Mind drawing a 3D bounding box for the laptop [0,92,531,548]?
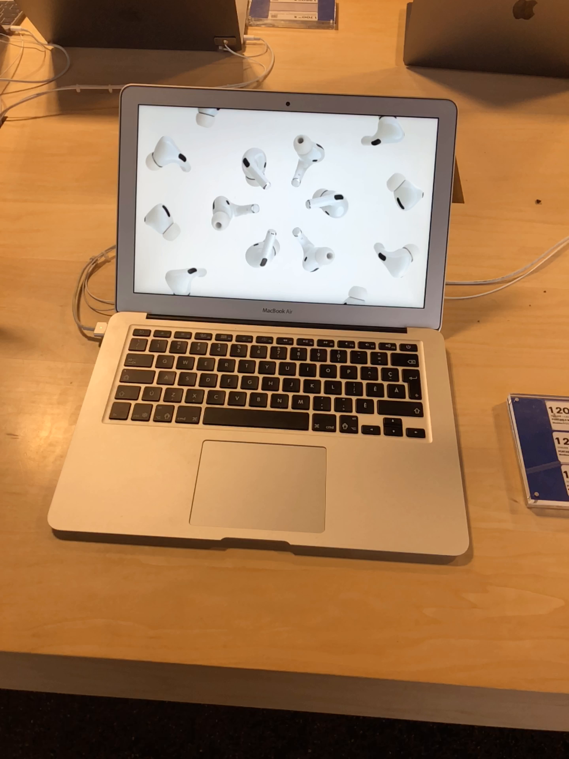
[{"bbox_3d":[-0.009,-0.073,0.526,0.311,0.151,0.372,3,50,1],"label":"laptop"}]
